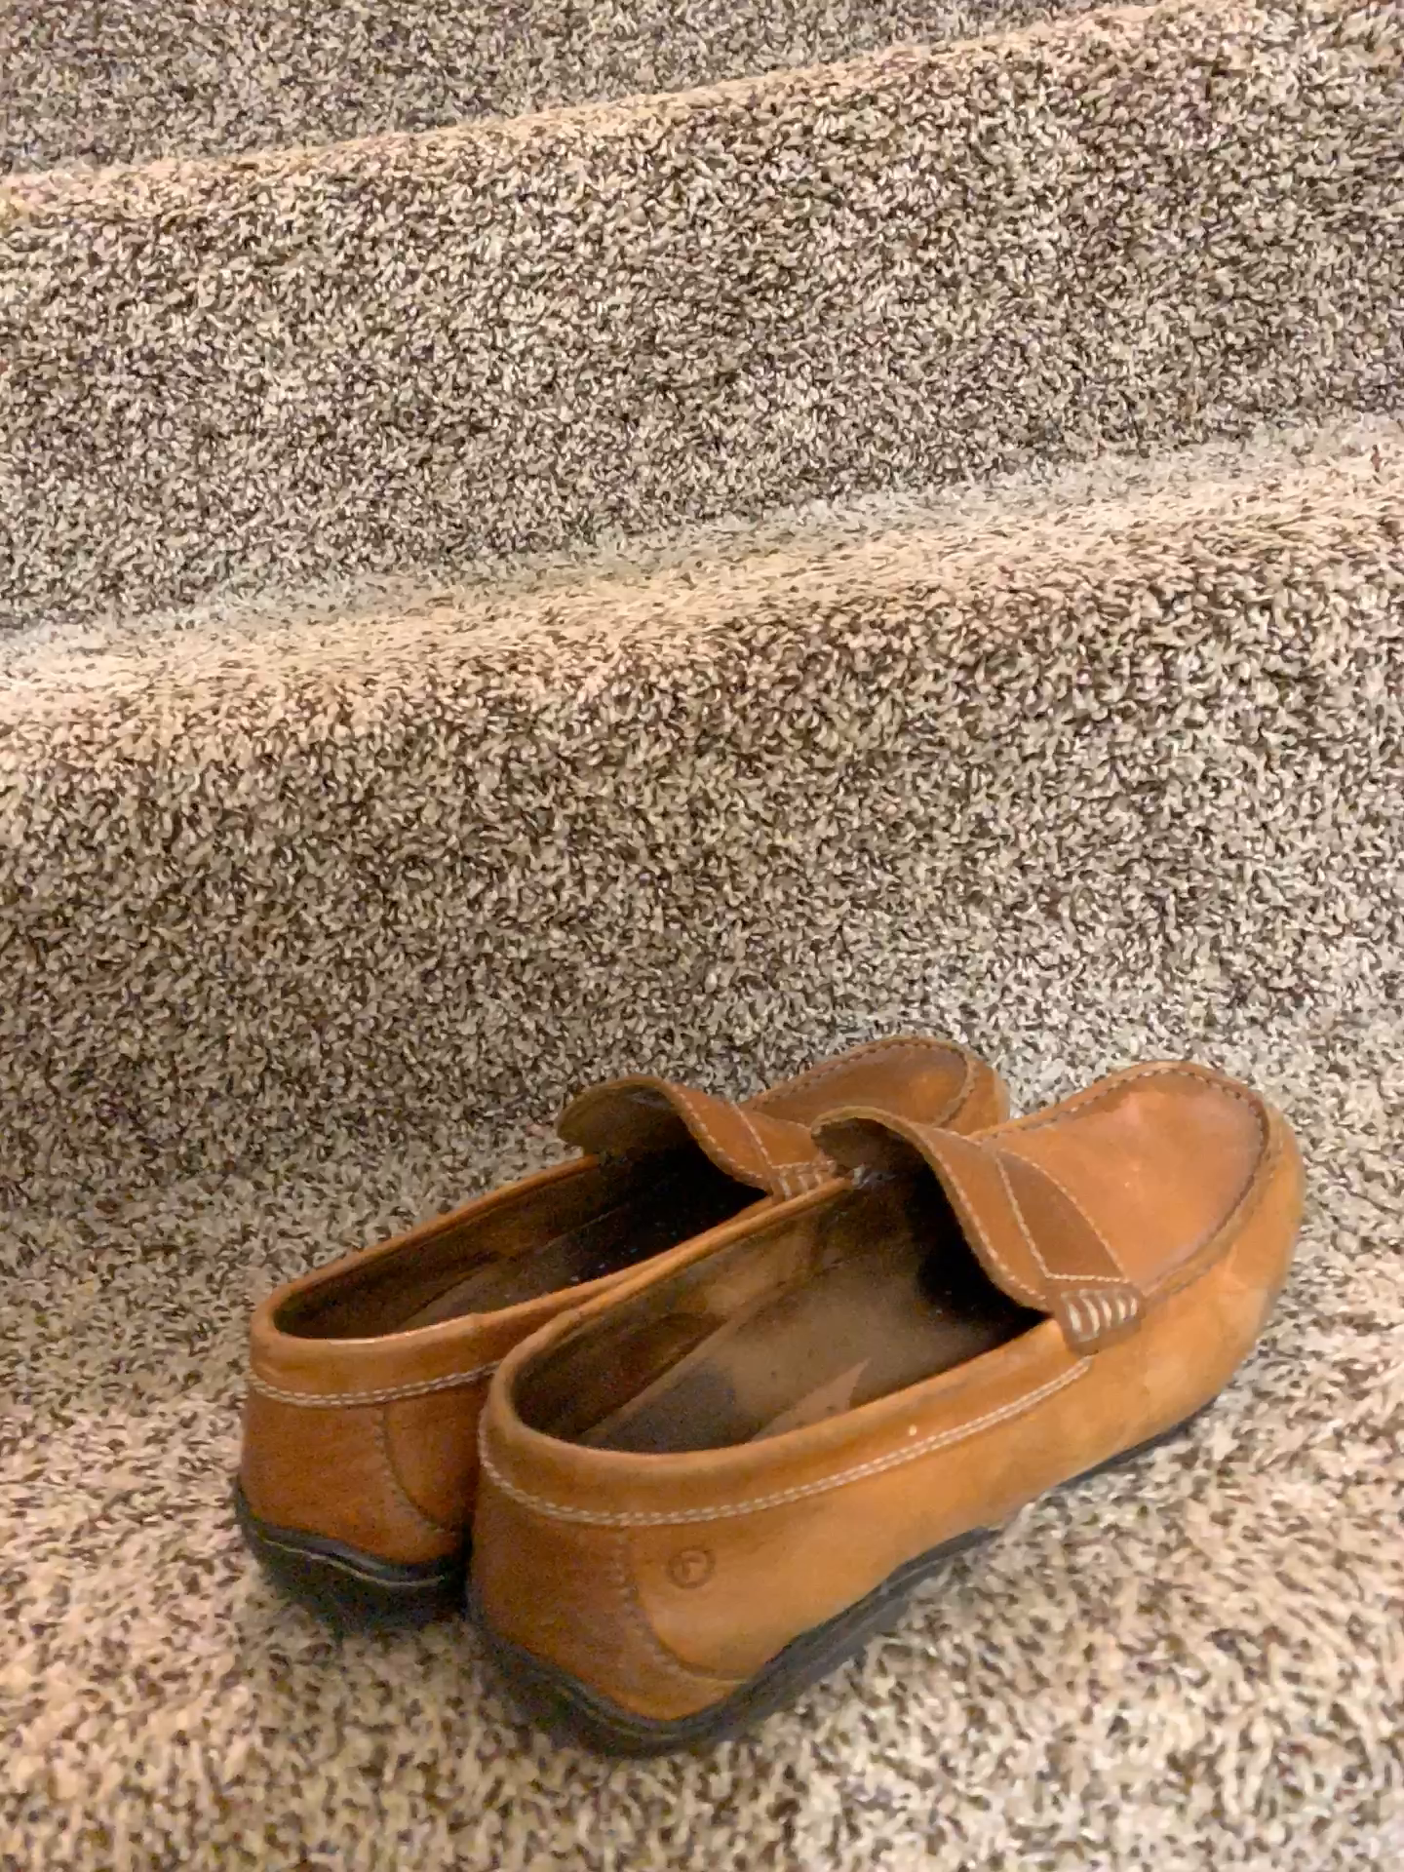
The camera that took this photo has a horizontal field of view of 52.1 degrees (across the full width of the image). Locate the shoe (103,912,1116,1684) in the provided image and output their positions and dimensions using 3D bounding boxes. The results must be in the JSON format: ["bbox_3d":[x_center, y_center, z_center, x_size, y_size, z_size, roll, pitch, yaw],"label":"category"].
[{"bbox_3d":[-0.009,0.079,0.414,0.280,0.070,0.090,-22,25,-31],"label":"shoe"}]

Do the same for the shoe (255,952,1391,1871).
[{"bbox_3d":[0.046,0.096,0.378,0.280,0.070,0.120,-22,25,-31],"label":"shoe"}]
